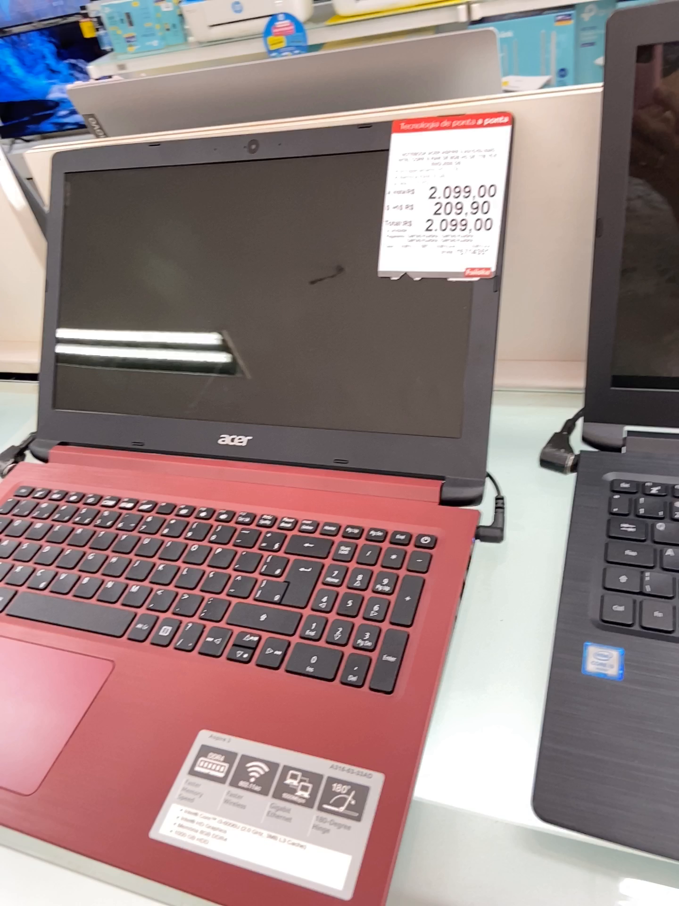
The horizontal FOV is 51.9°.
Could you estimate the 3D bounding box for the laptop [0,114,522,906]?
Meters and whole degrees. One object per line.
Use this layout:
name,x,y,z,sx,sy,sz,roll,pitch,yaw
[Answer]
laptop,-0.118,-0.026,0.444,0.391,0.193,0.431,4,42,22
